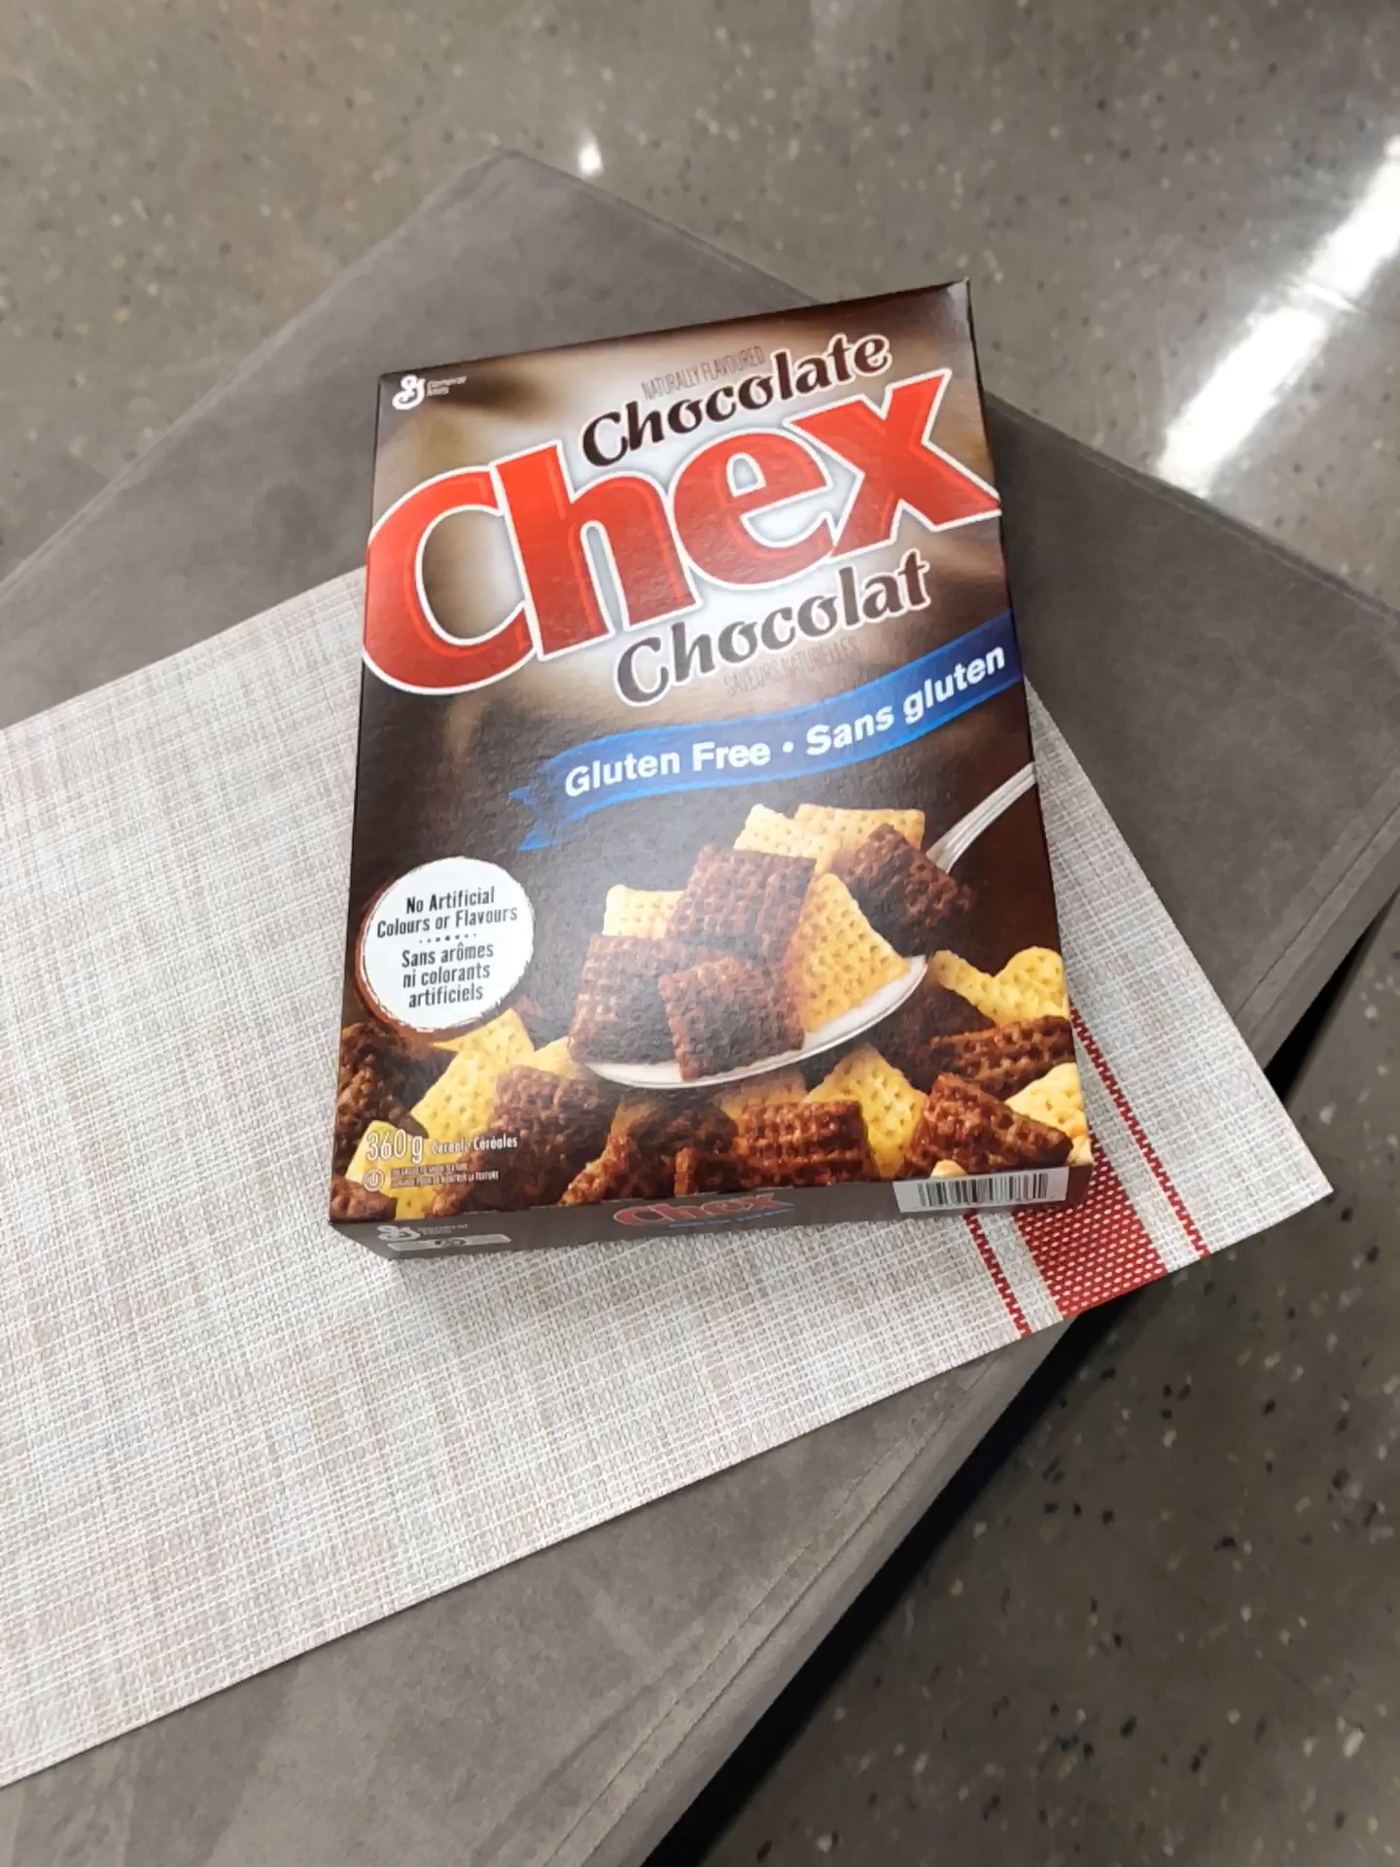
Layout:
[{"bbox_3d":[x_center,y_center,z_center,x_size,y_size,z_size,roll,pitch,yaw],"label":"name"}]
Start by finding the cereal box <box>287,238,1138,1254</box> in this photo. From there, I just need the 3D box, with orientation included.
[{"bbox_3d":[-0.002,-0.062,0.461,0.210,0.050,0.290,-6,66,9],"label":"cereal box"}]
